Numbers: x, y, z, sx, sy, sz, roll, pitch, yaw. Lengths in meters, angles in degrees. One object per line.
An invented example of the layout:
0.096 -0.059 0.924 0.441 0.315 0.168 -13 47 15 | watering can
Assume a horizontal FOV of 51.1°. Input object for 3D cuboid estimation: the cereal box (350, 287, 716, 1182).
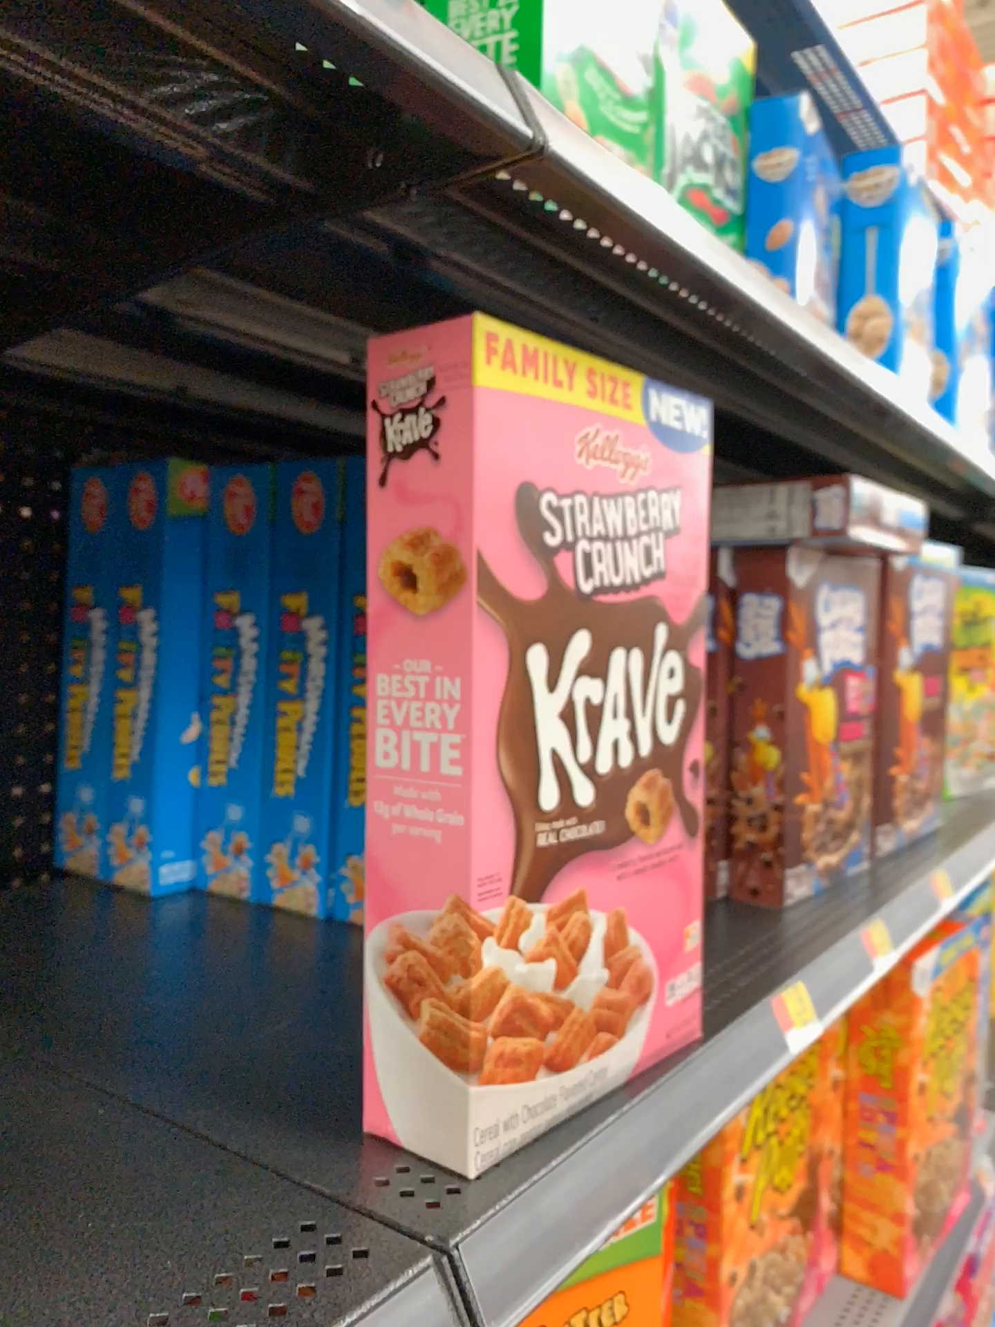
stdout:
0.027 0.025 0.481 0.060 0.330 0.200 1 0 38 | cereal box
